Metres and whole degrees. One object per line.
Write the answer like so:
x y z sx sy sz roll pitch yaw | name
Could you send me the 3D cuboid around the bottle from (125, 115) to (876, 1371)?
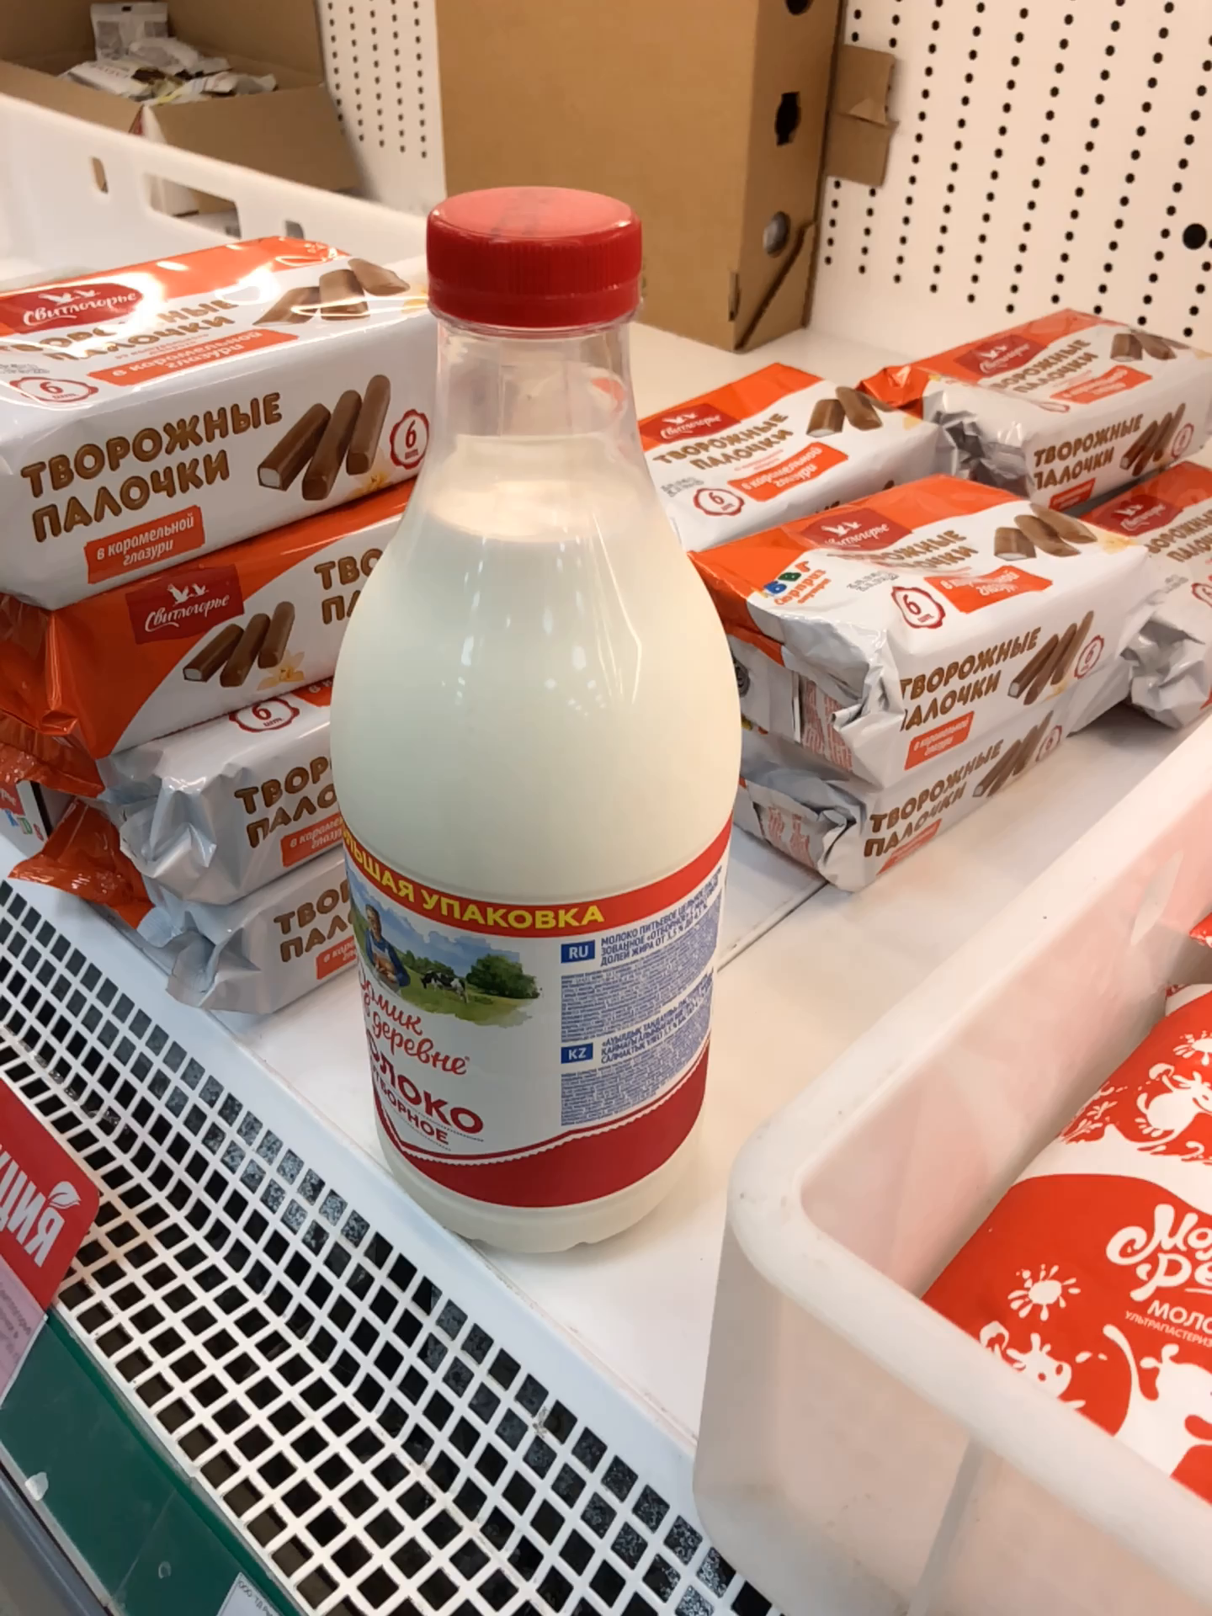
-0.024 -0.003 0.331 0.090 0.278 0.110 -28 46 -33 | bottle
